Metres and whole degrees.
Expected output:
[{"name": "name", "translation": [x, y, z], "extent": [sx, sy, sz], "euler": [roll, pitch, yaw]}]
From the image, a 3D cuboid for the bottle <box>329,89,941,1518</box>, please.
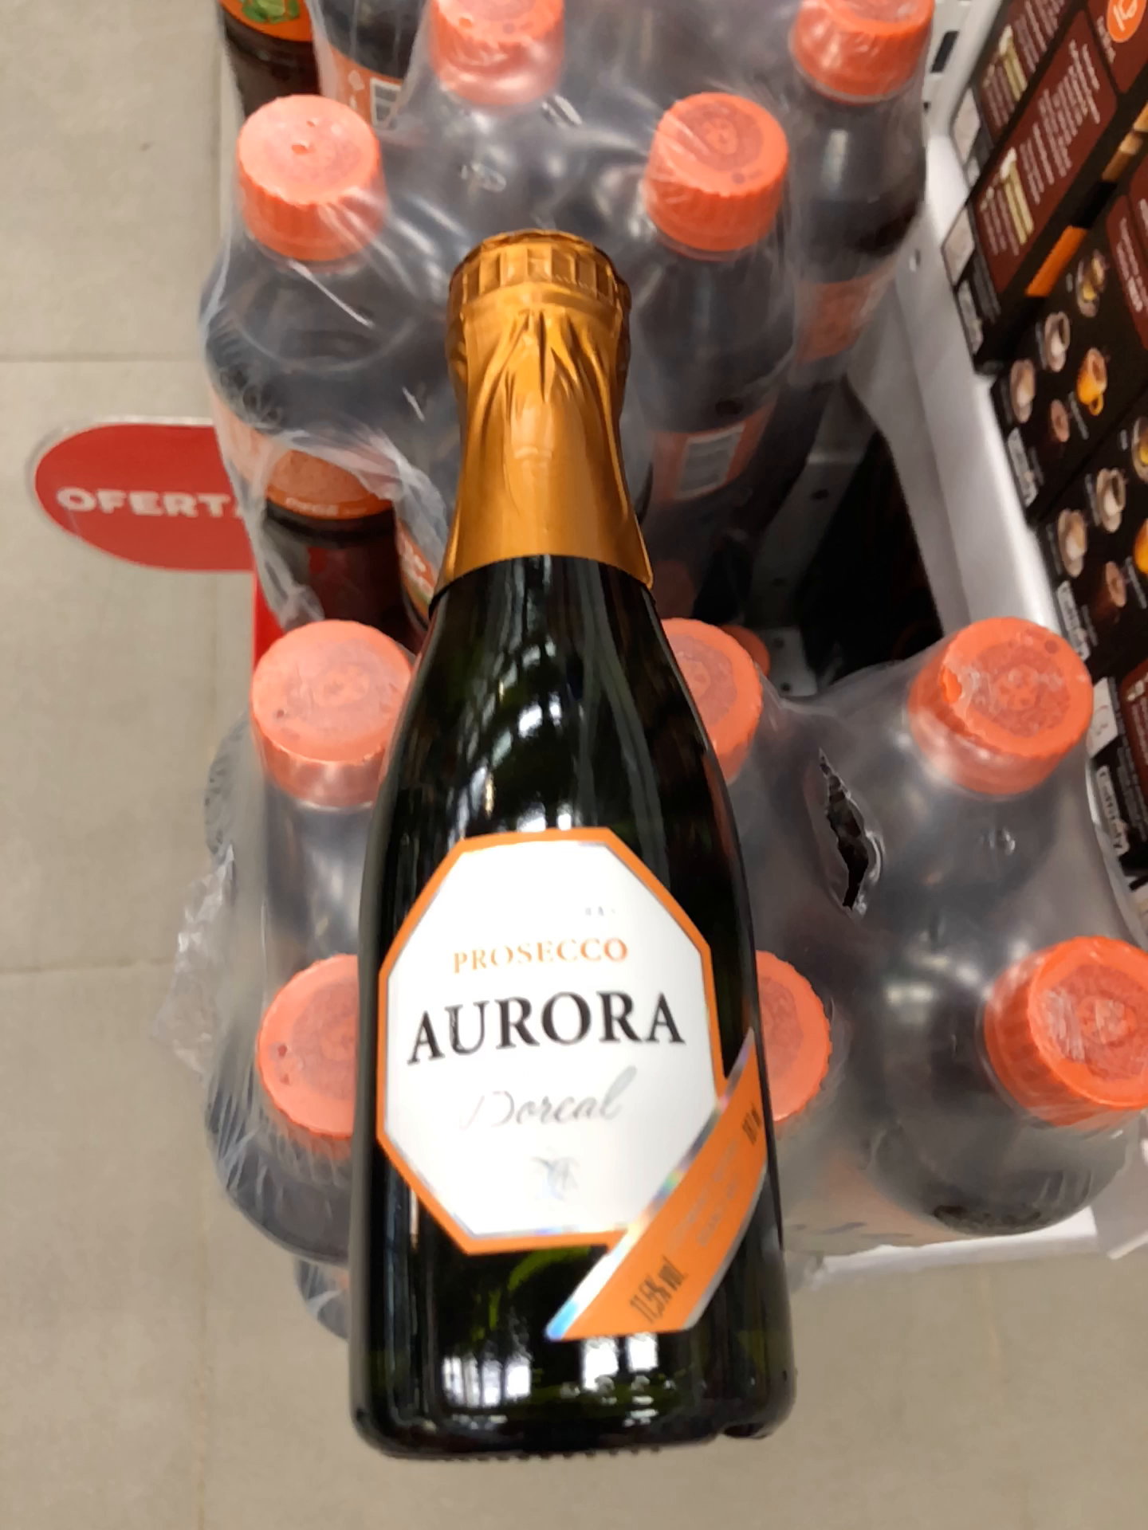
[{"name": "bottle", "translation": [0.003, -0.004, 0.179], "extent": [0.060, 0.050, 0.180], "euler": [2, 69, -6]}]
